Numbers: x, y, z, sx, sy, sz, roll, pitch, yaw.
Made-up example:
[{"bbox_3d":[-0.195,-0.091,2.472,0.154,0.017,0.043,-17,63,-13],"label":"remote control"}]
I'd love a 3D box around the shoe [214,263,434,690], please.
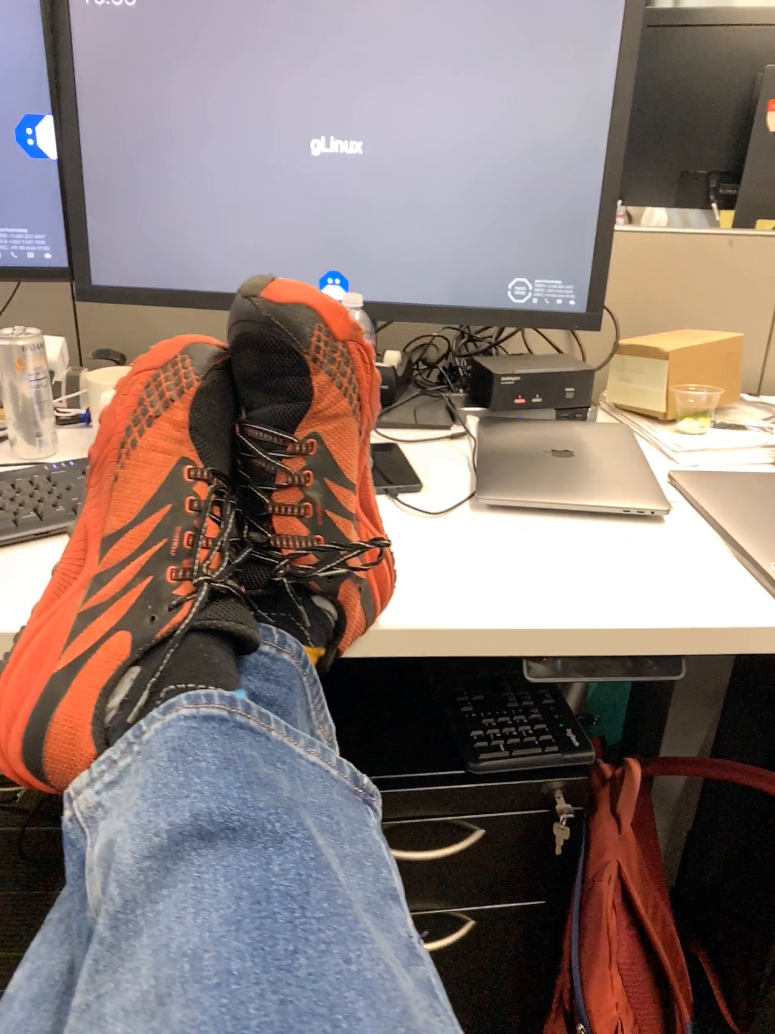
[{"bbox_3d":[-0.035,-0.028,0.554,0.107,0.271,0.083,10,27,26],"label":"shoe"}]

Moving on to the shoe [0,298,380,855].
[{"bbox_3d":[-0.125,0.026,0.481,0.133,0.289,0.091,14,-9,29],"label":"shoe"}]
